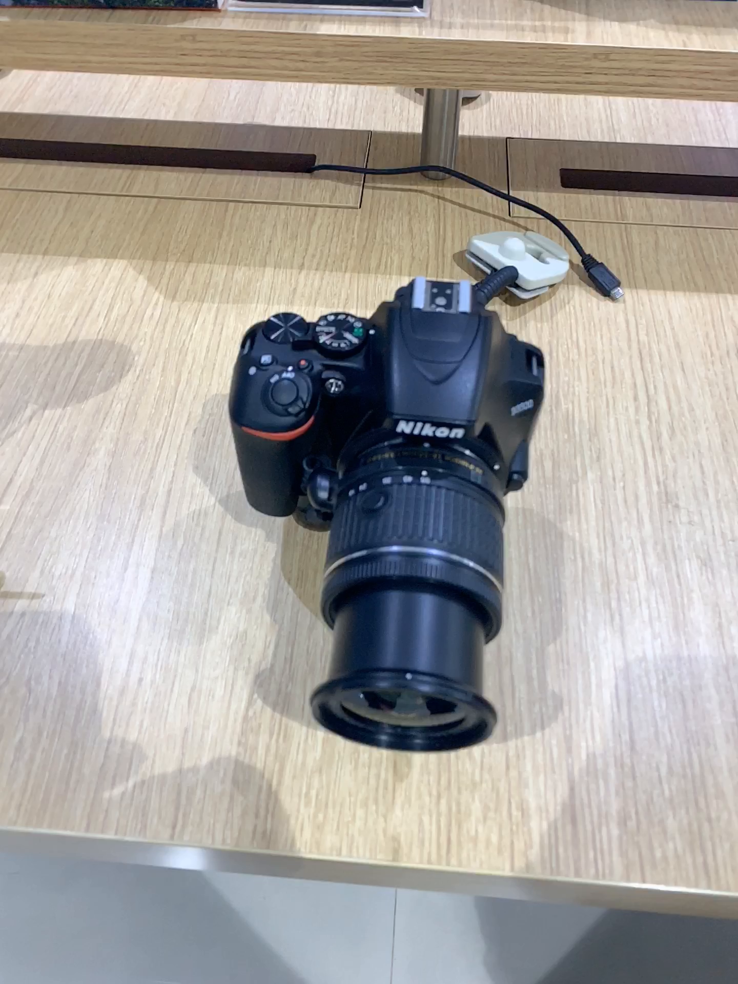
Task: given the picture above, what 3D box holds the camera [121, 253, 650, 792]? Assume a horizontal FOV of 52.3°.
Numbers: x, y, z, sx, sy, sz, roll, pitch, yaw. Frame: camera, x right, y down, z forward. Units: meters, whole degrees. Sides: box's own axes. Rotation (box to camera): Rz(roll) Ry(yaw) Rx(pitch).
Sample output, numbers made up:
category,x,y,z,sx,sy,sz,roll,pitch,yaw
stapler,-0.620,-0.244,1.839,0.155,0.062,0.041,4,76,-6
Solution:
category,x,y,z,sx,sy,sz,roll,pitch,yaw
camera,0.007,0.010,0.243,0.115,0.100,0.136,3,55,2
